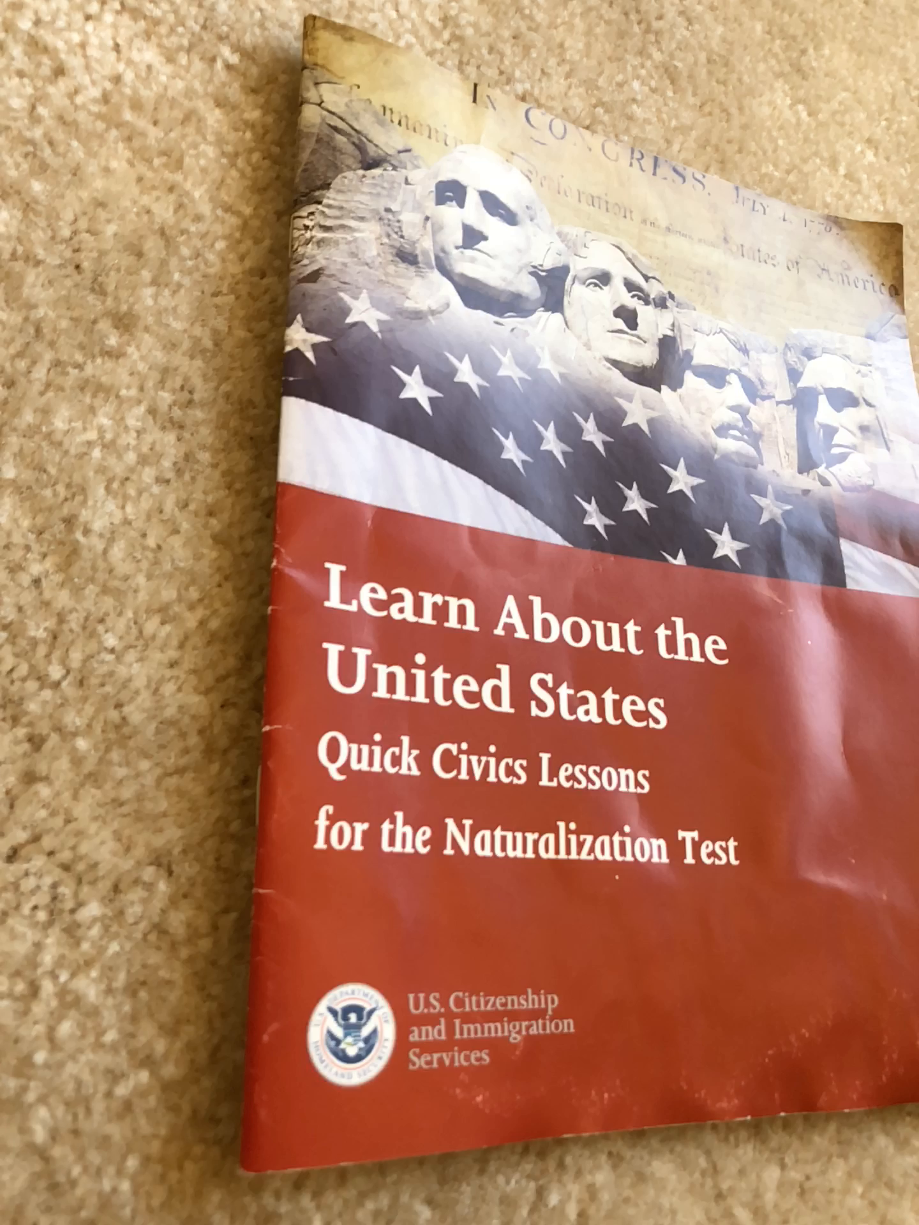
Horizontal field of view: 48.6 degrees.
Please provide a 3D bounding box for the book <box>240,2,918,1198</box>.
[{"bbox_3d":[0.056,-0.012,0.273,0.209,0.028,0.273,7,70,-23],"label":"book"}]
